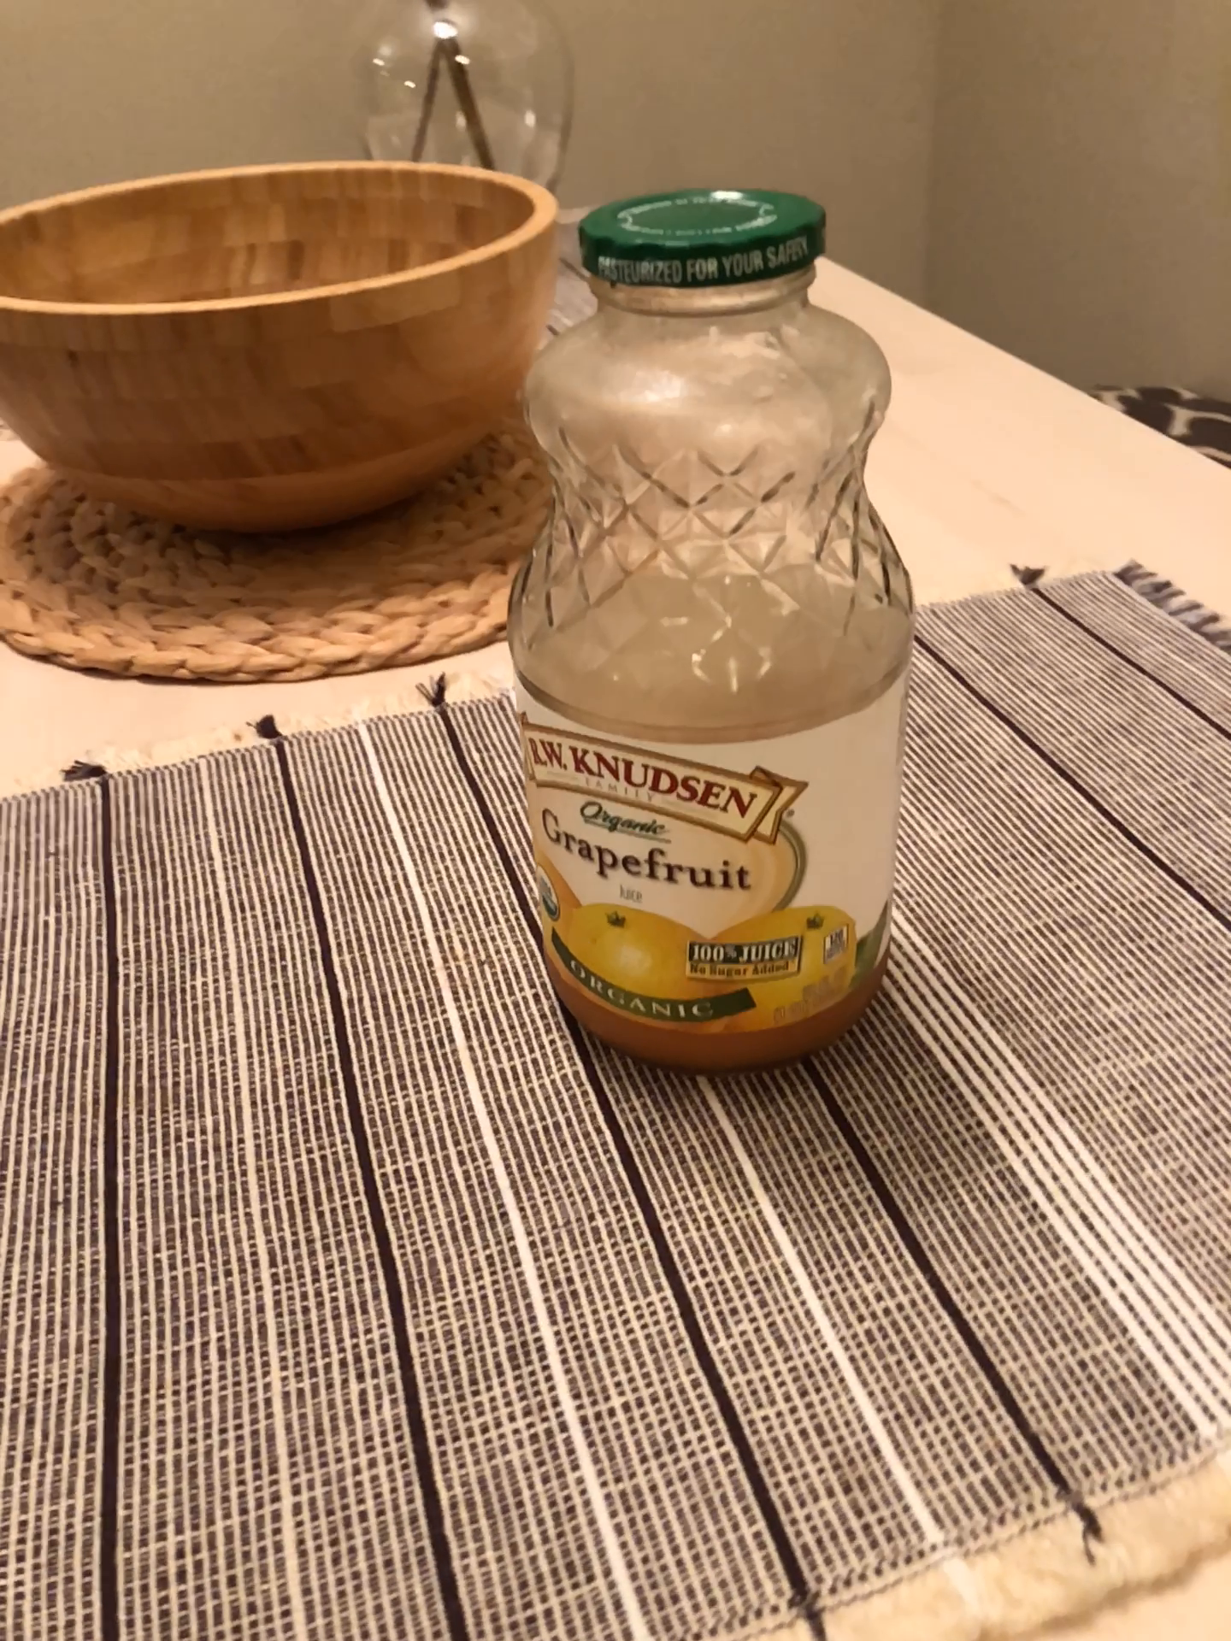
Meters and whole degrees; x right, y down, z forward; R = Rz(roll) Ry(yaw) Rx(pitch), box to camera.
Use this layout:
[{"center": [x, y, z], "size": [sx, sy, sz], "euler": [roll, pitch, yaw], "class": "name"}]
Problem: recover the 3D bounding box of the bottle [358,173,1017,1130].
[{"center": [0.023, -0.042, 0.326], "size": [0.100, 0.189, 0.101], "euler": [-2, 34, 2], "class": "bottle"}]
